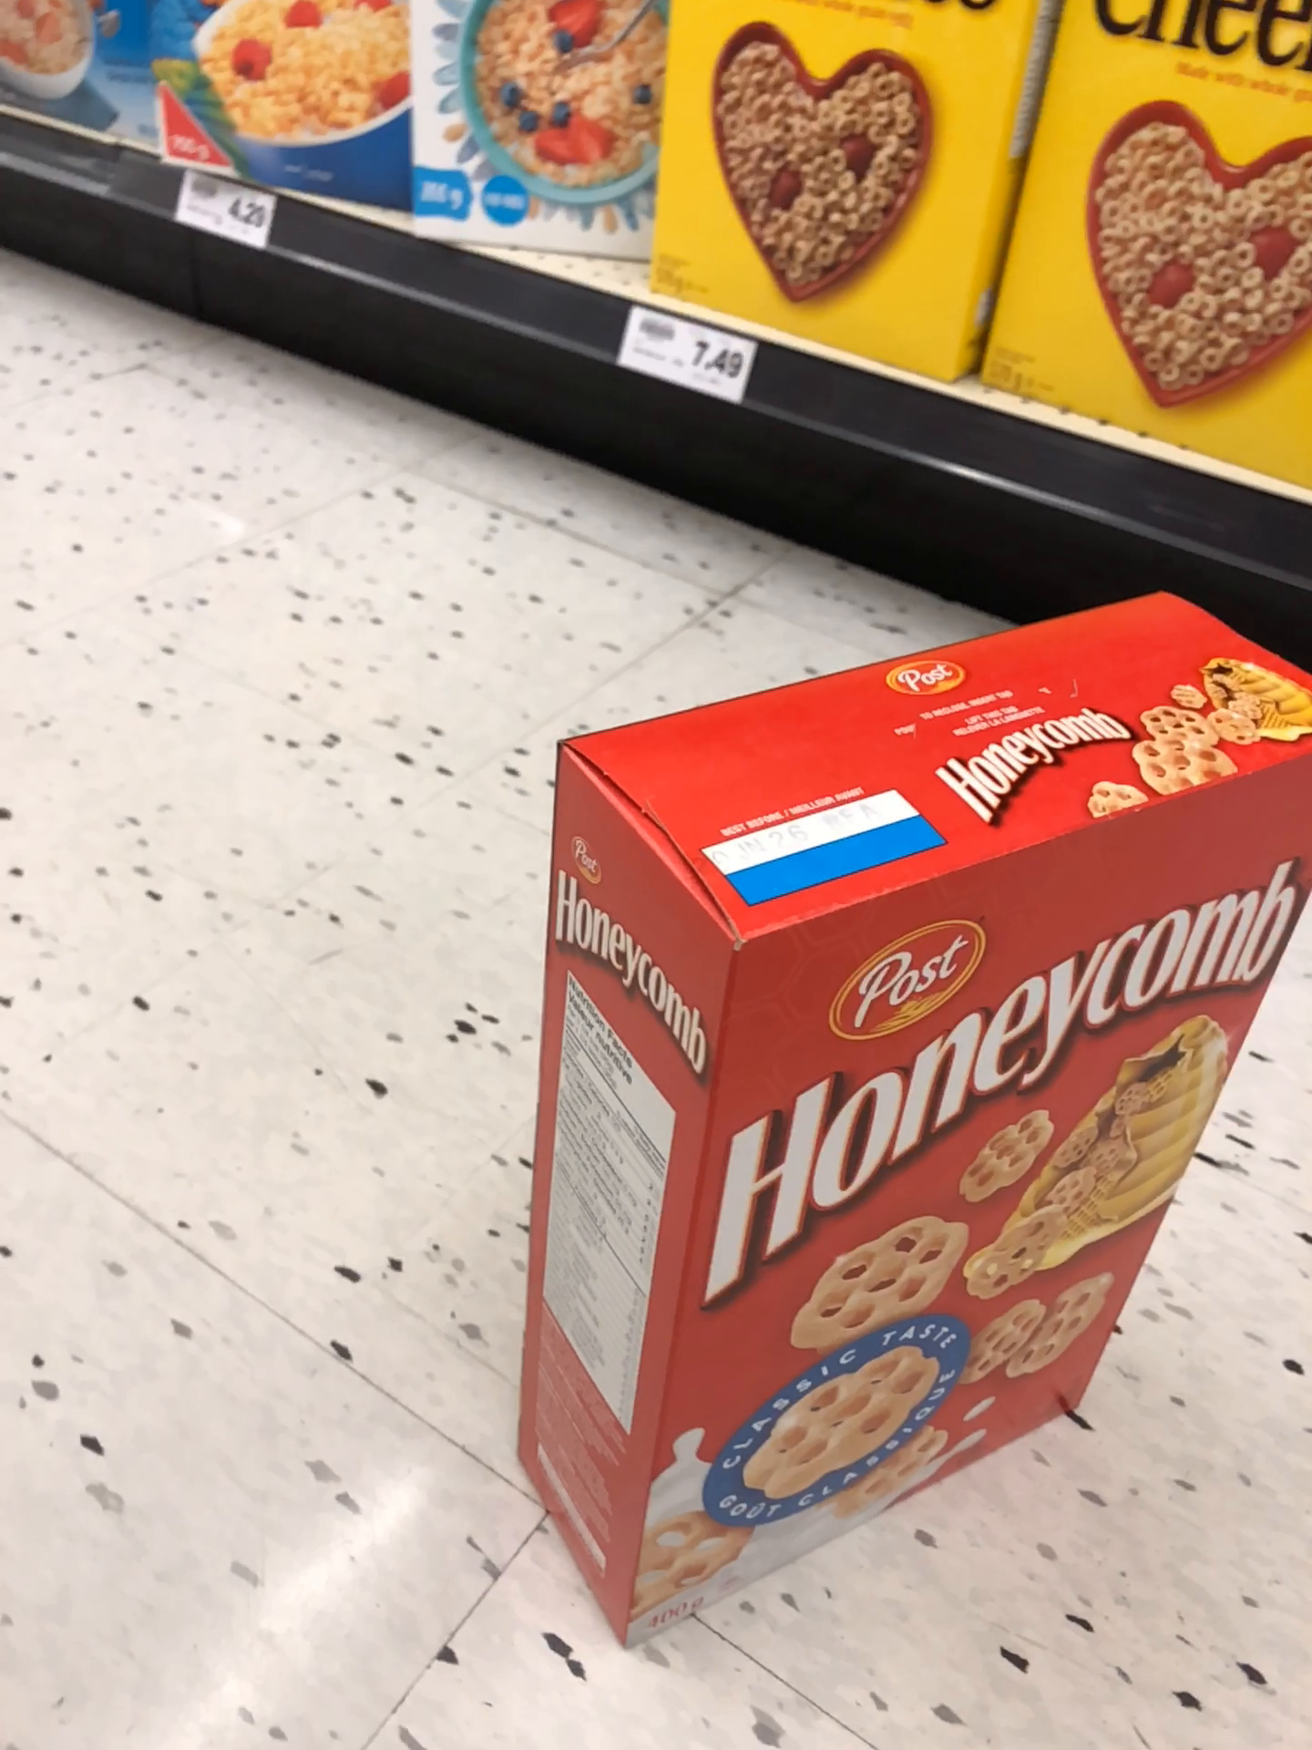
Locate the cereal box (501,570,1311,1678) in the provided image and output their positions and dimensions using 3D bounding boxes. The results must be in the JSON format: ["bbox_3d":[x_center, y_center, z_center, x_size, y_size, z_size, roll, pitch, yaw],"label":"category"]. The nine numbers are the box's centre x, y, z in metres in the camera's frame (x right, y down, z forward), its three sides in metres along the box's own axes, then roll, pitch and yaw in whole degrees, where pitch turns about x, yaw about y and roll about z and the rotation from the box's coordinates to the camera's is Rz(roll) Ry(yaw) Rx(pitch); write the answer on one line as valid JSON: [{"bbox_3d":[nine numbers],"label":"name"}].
[{"bbox_3d":[0.067,0.081,0.419,0.200,0.298,0.080,-15,43,-25],"label":"cereal box"}]
